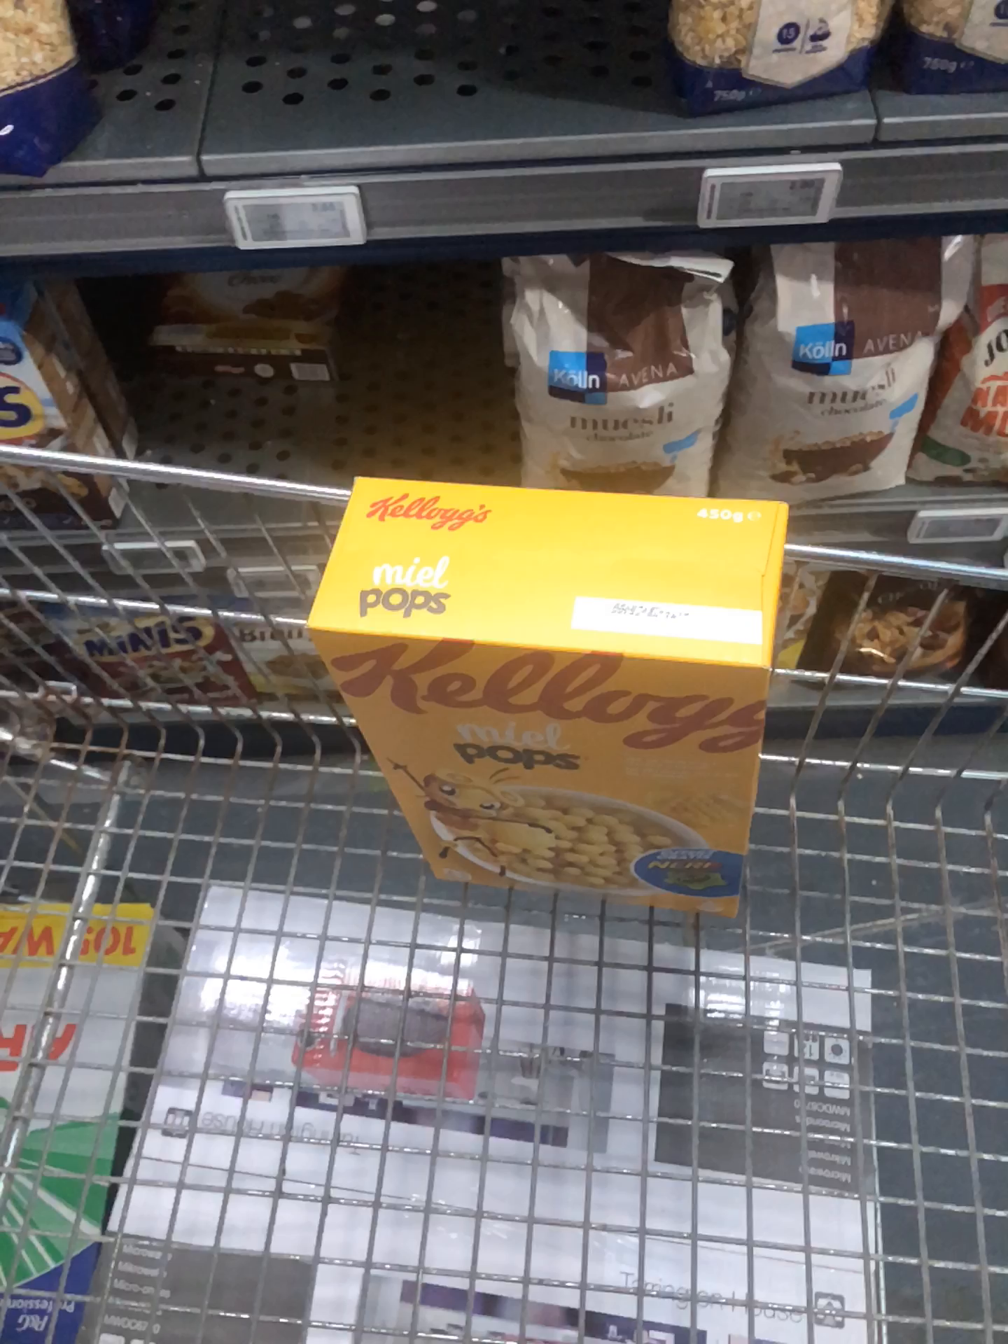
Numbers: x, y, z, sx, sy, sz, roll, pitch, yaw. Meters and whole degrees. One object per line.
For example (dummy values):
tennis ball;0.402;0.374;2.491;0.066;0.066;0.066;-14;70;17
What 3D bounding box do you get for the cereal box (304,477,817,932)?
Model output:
cereal box;0.038;0.032;0.574;0.200;0.279;0.090;3;58;9
